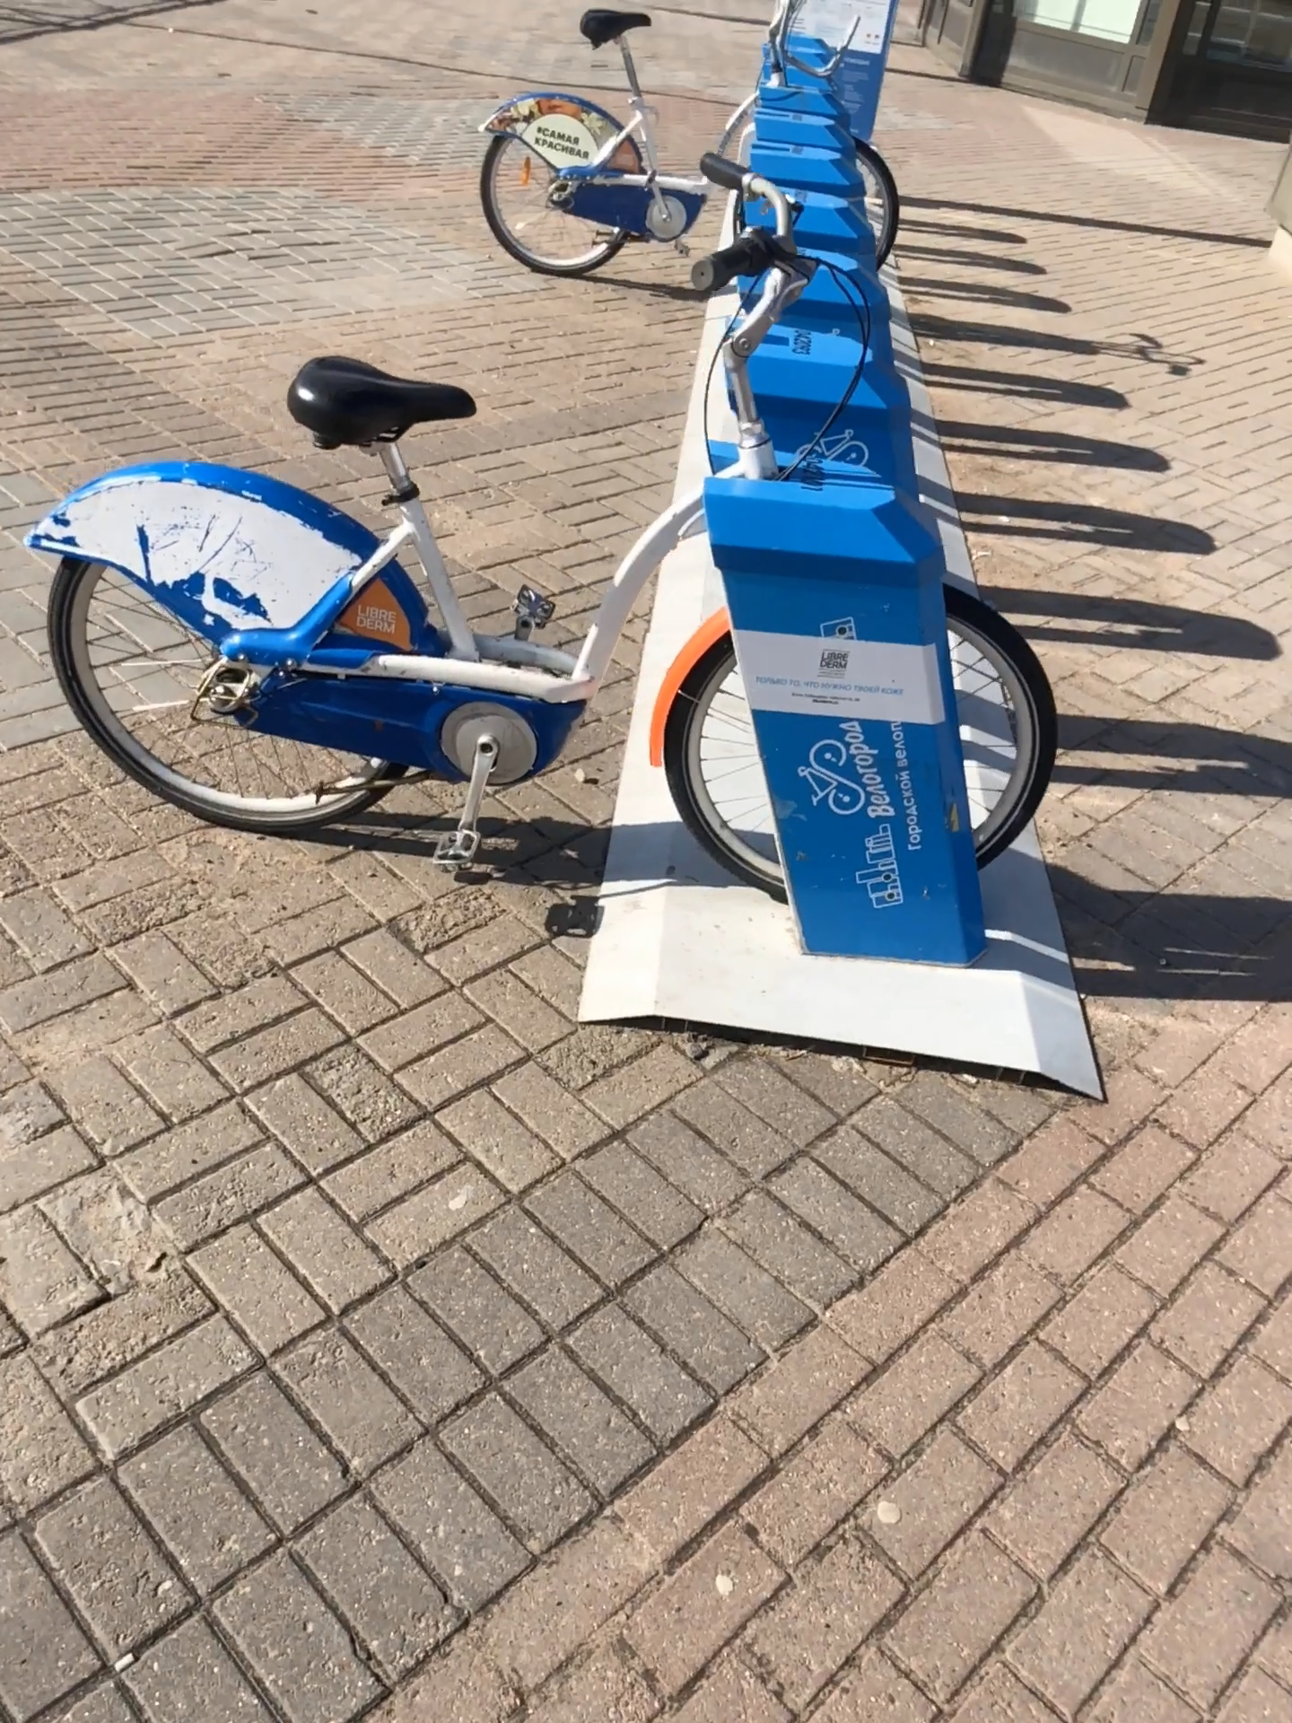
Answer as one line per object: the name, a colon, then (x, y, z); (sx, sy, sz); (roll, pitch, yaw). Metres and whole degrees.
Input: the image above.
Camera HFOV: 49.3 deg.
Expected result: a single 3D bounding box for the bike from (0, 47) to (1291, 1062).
bike: (-0.110, -0.461, 2.159); (1.674, 1.233, 0.686); (7, 35, 2)
